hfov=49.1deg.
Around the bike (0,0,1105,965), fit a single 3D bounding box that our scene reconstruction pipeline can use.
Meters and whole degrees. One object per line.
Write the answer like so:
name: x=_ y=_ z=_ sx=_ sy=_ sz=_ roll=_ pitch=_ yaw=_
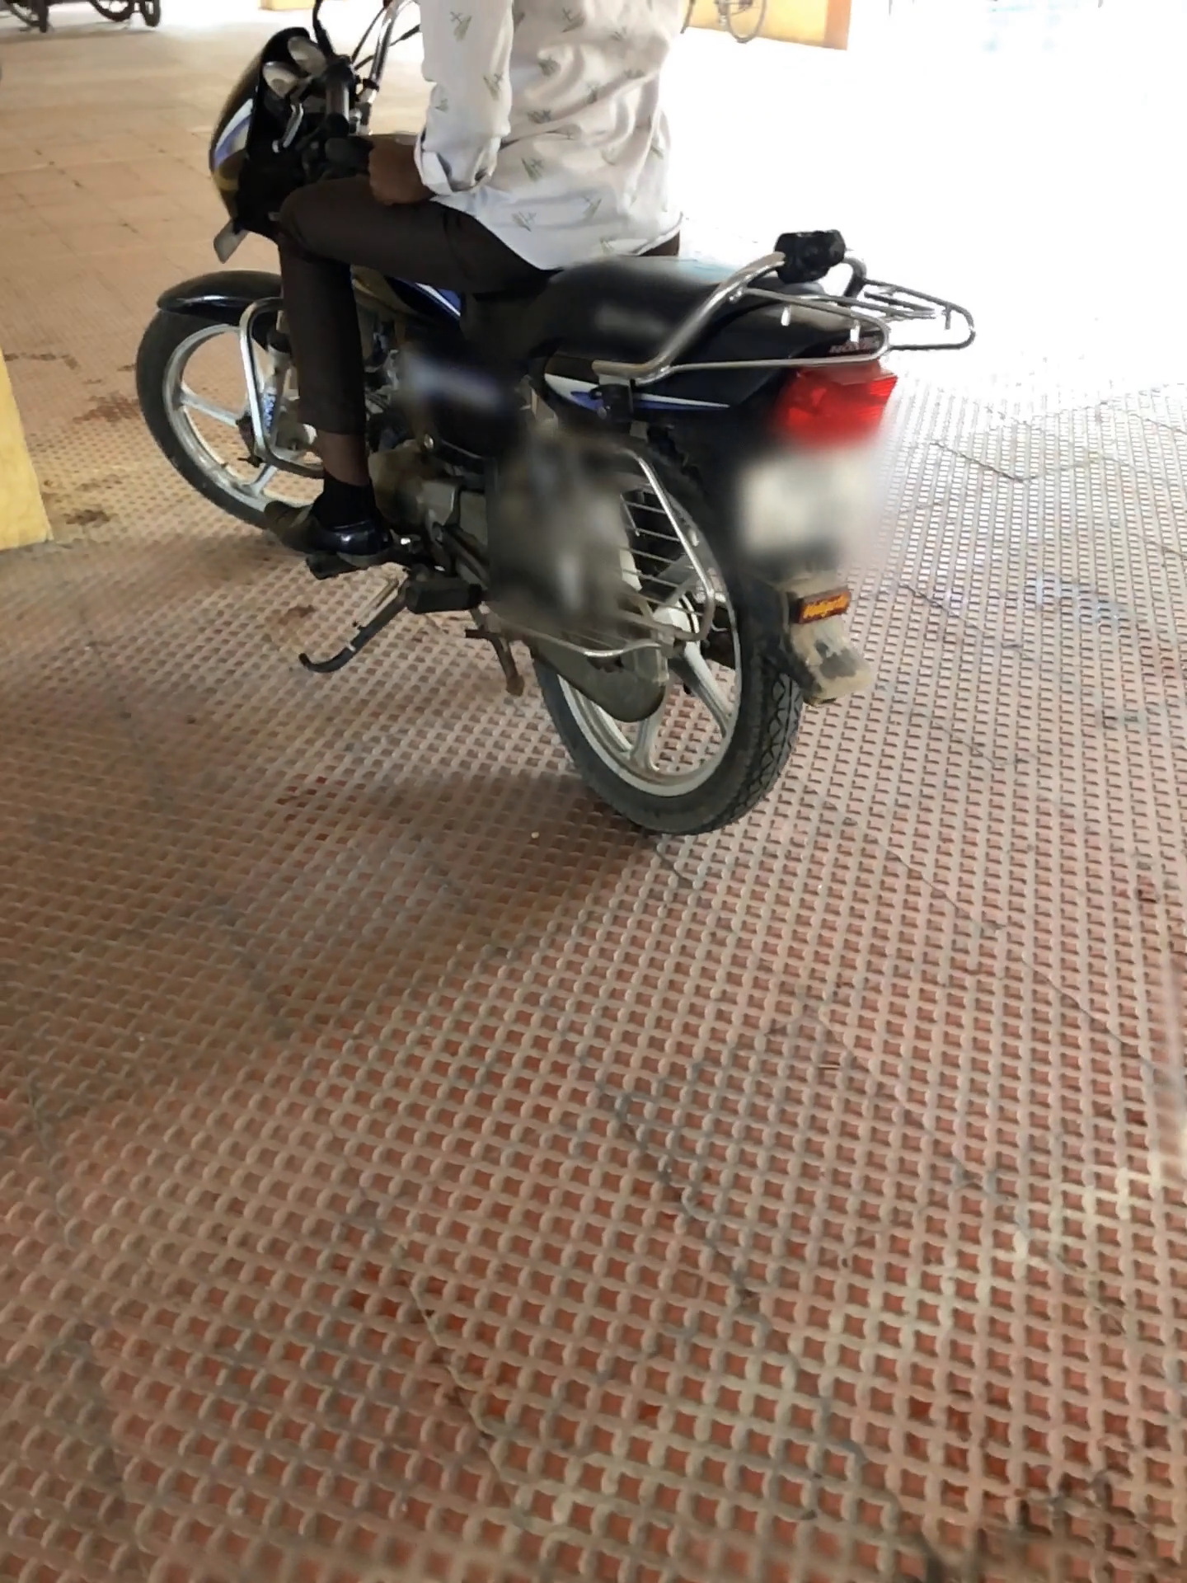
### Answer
bike: x=-0.232 y=-0.745 z=2.122 sx=0.687 sy=1.107 sz=1.709 roll=-29 pitch=46 yaw=-34
